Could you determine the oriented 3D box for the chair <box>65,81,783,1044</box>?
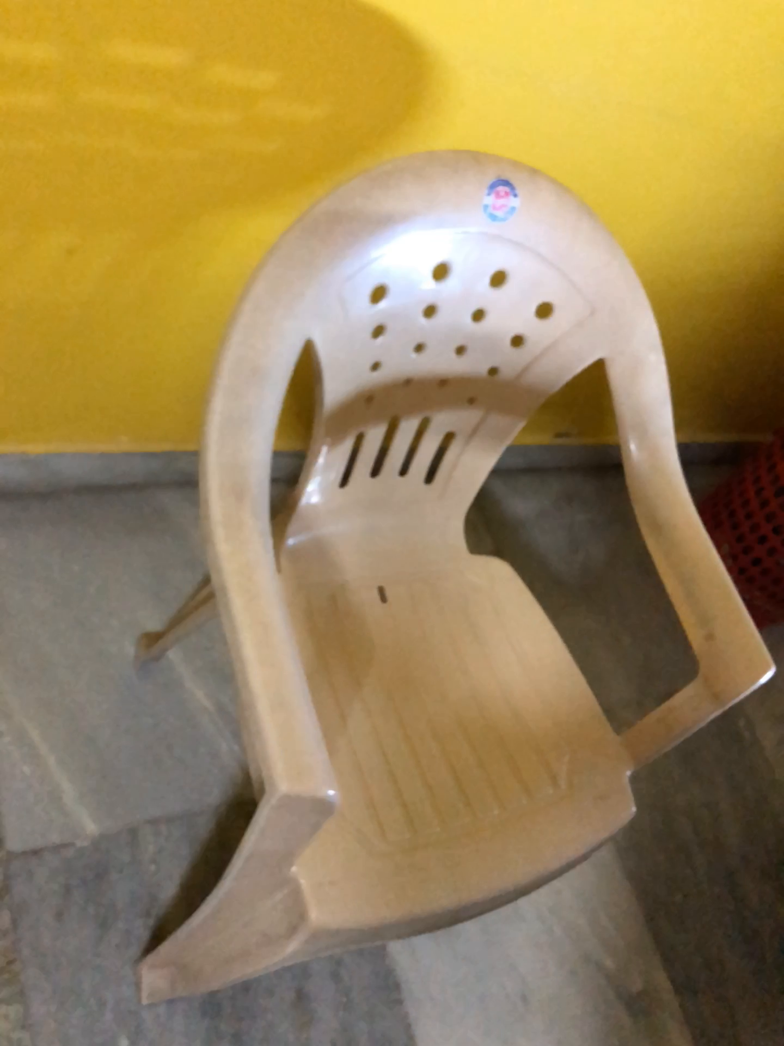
[{"bbox_3d":[0.042,0.118,0.925,0.533,0.784,0.561,-4,62,-33],"label":"chair"}]
